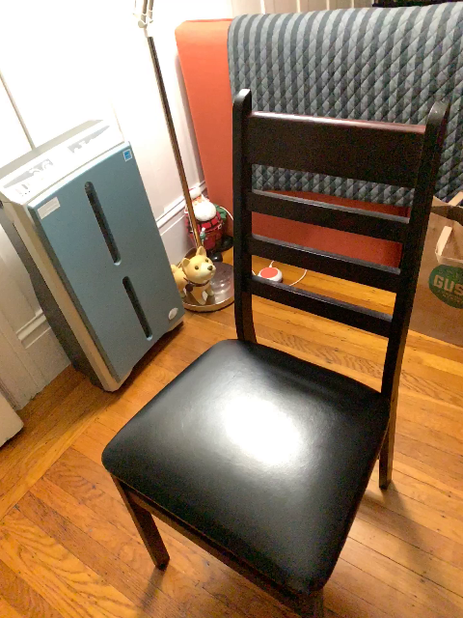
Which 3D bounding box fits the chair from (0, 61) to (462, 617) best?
[{"bbox_3d":[0.045,0.144,0.788,0.492,0.865,0.551,17,48,29],"label":"chair"}]
